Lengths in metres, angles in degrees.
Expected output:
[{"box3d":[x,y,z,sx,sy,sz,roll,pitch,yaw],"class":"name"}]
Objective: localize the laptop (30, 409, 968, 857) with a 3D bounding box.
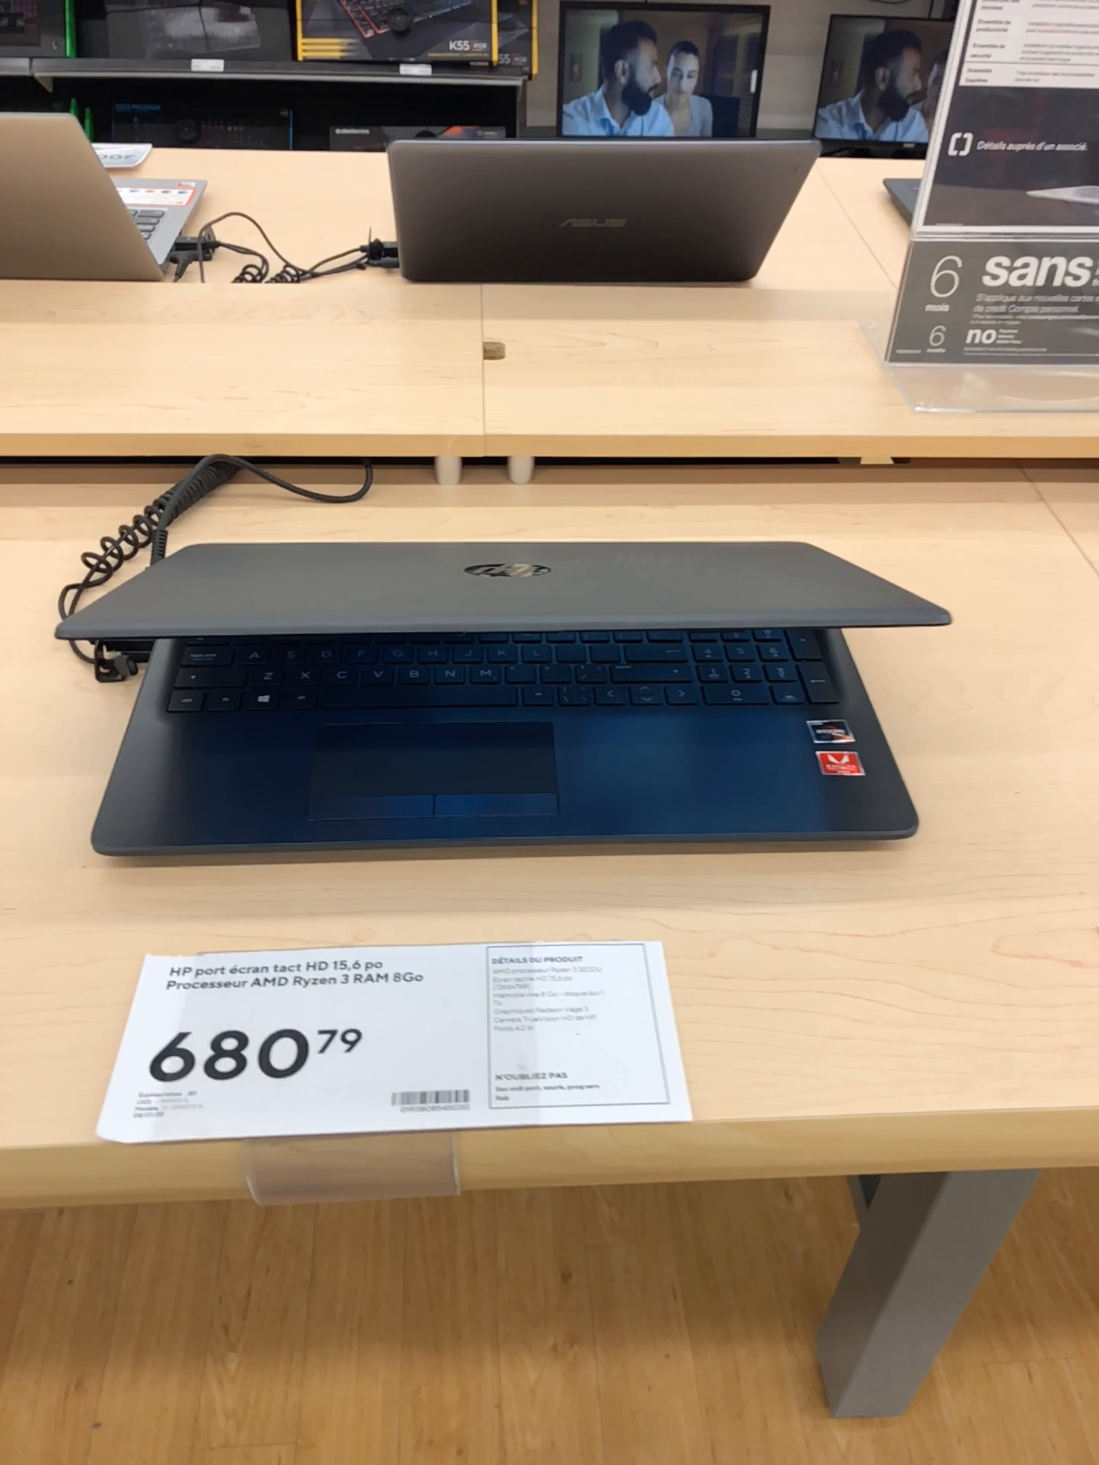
[{"box3d":[-0.019,-0.064,0.593,0.366,0.090,0.243,-1,40,-5],"class":"laptop"}]
